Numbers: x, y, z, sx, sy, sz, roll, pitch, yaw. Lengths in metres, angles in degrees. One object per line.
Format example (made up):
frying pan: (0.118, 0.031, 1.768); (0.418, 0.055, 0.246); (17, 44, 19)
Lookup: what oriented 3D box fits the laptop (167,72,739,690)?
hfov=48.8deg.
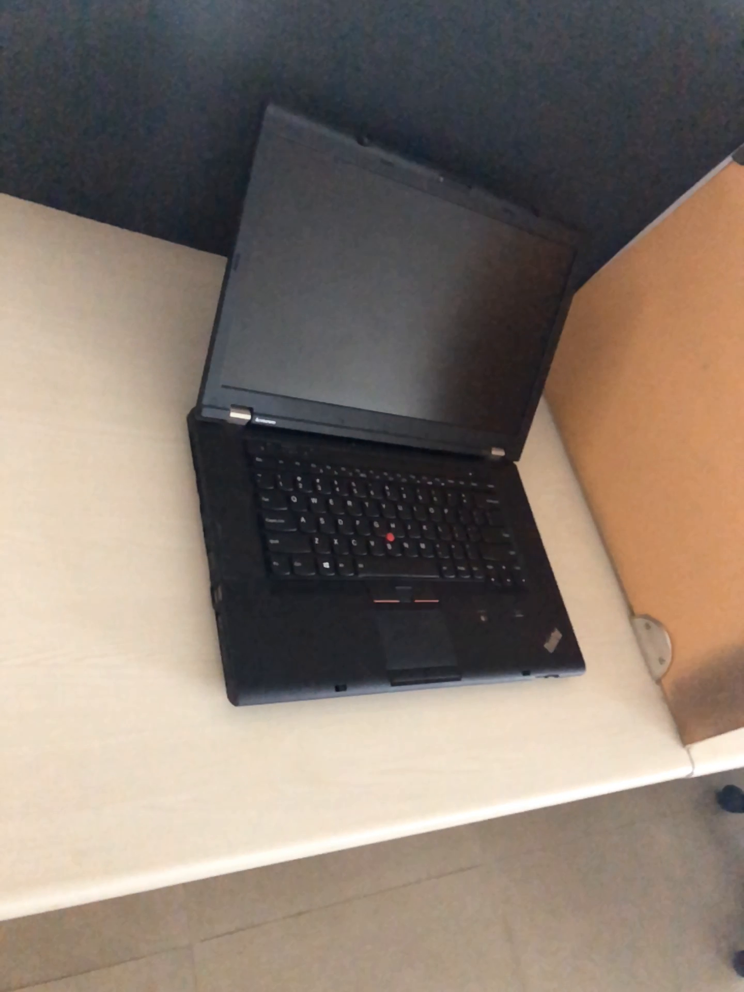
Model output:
laptop: (0.058, -0.068, 0.677); (0.355, 0.185, 0.380); (5, 61, -37)
